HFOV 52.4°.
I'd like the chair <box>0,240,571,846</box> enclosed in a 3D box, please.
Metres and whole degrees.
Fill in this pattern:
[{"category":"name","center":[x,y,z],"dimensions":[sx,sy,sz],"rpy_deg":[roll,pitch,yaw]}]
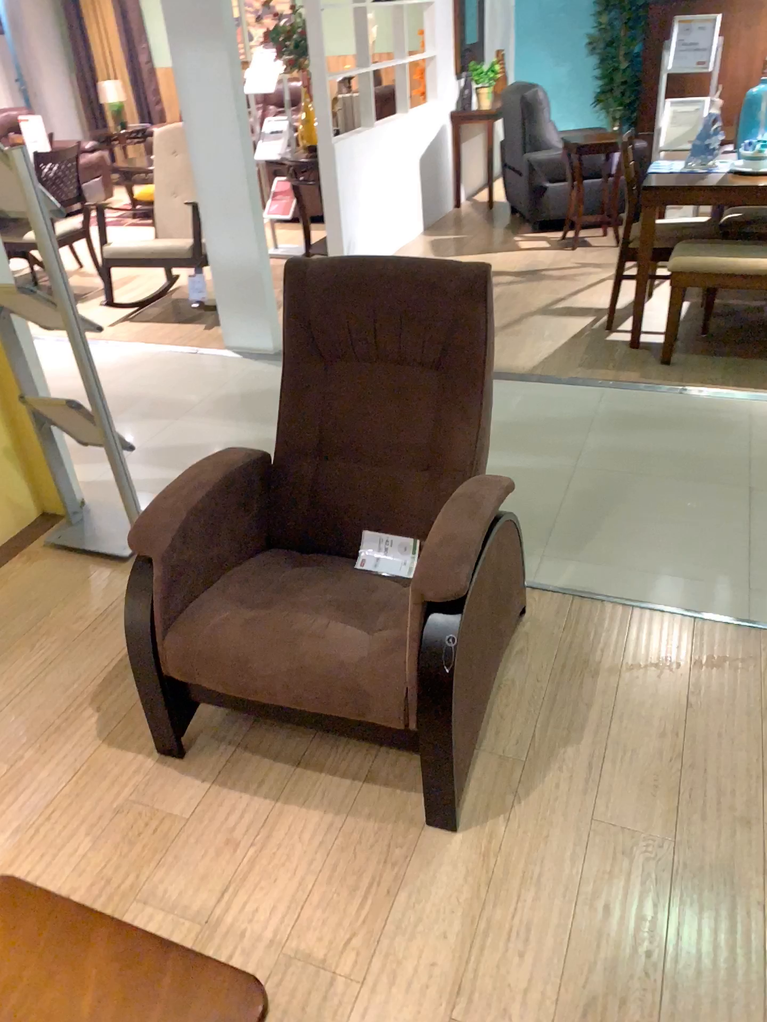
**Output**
[{"category":"chair","center":[-0.073,-0.040,1.792],"dimensions":[0.801,0.886,1.003],"rpy_deg":[7,34,19]}]
